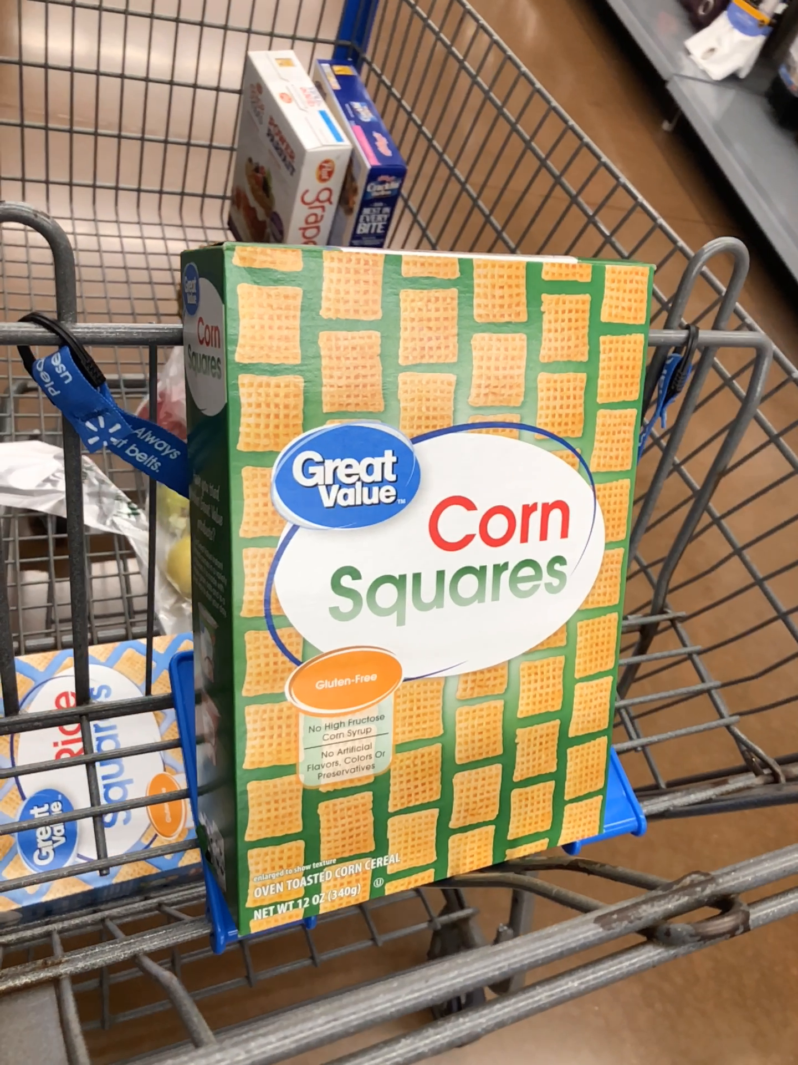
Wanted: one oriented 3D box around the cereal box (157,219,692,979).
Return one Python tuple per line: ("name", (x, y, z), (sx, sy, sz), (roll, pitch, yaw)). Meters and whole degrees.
("cereal box", (0.012, 0.020, 0.381), (0.200, 0.280, 0.070), (-6, 16, -24))
